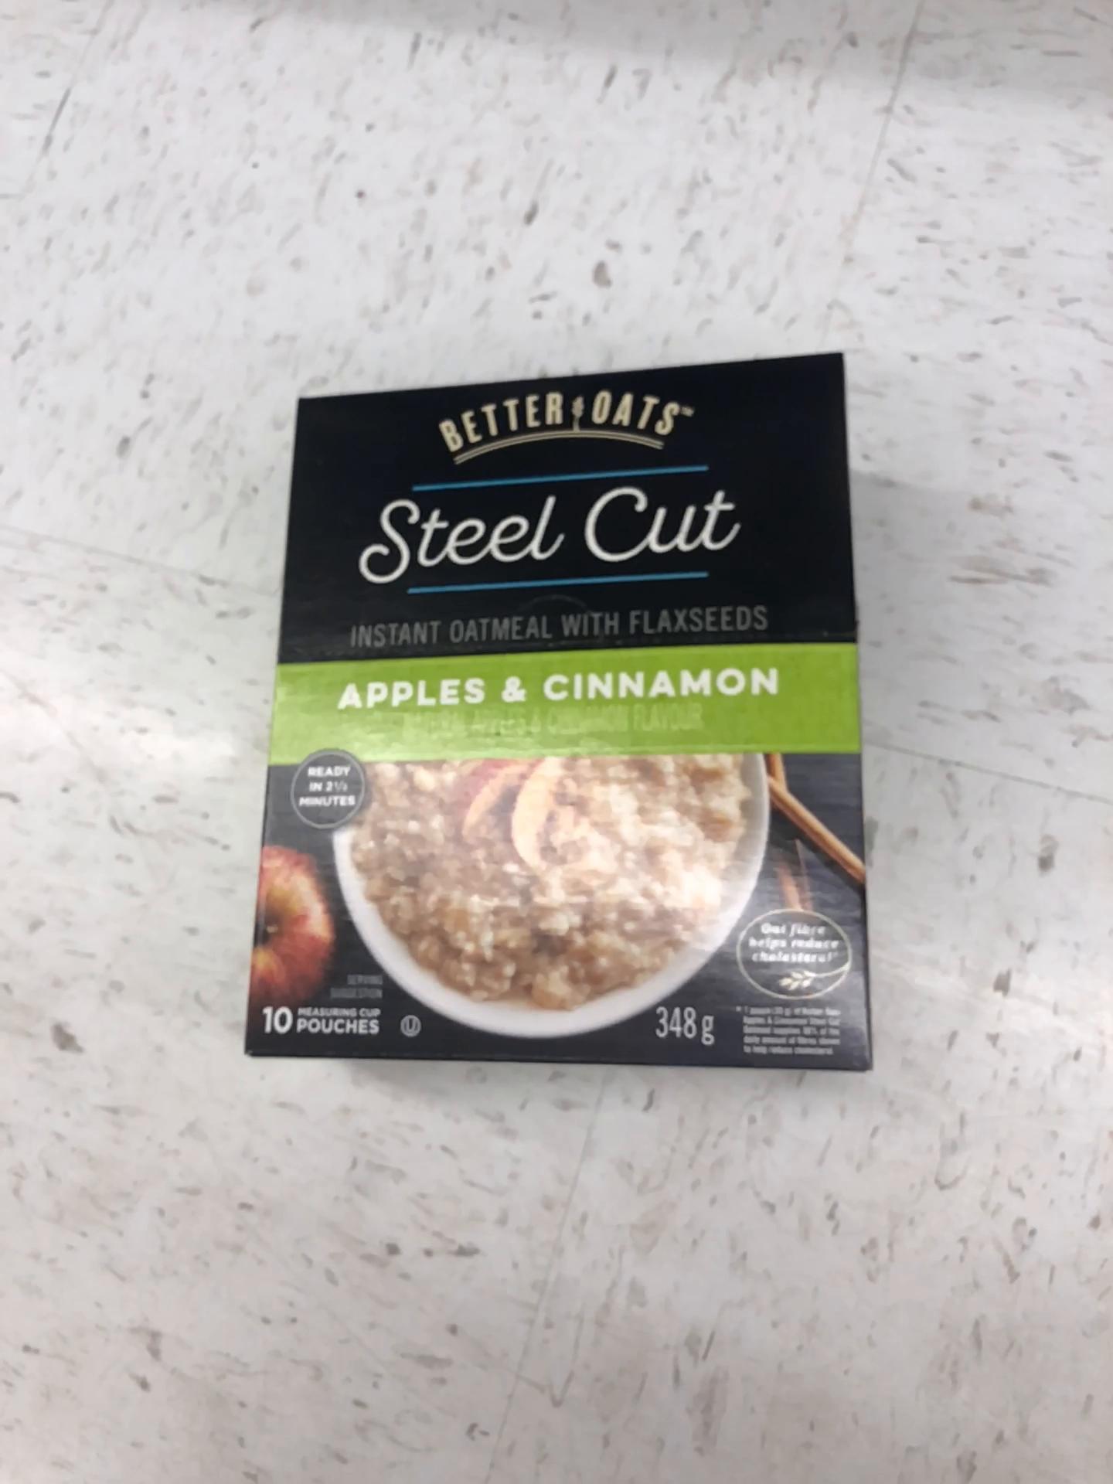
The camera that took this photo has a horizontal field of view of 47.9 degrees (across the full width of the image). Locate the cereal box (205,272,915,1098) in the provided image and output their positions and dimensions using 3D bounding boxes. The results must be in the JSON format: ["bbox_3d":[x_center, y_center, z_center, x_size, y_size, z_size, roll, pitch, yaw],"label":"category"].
[{"bbox_3d":[0.005,-0.011,0.337,0.160,0.070,0.200,-2,75,10],"label":"cereal box"}]
